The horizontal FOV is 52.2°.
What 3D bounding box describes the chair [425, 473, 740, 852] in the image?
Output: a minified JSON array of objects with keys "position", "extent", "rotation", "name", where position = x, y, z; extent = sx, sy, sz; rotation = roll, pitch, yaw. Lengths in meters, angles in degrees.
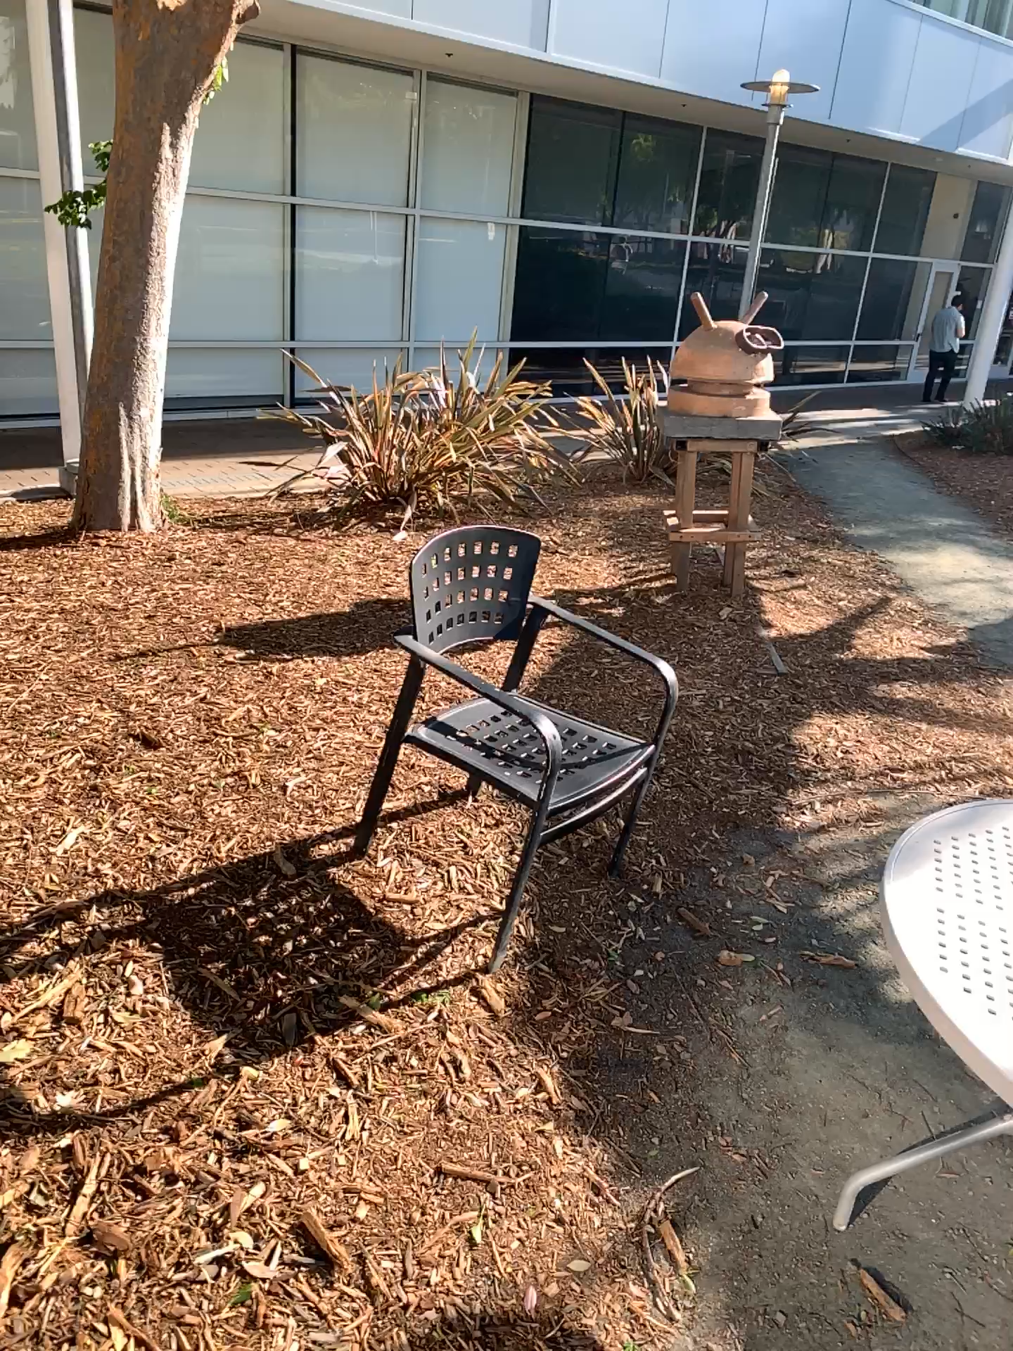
[{"position":[0.177,-0.068,2.580],"extent":[0.501,0.716,0.521],"rotation":[21,28,33],"name":"chair"}]
